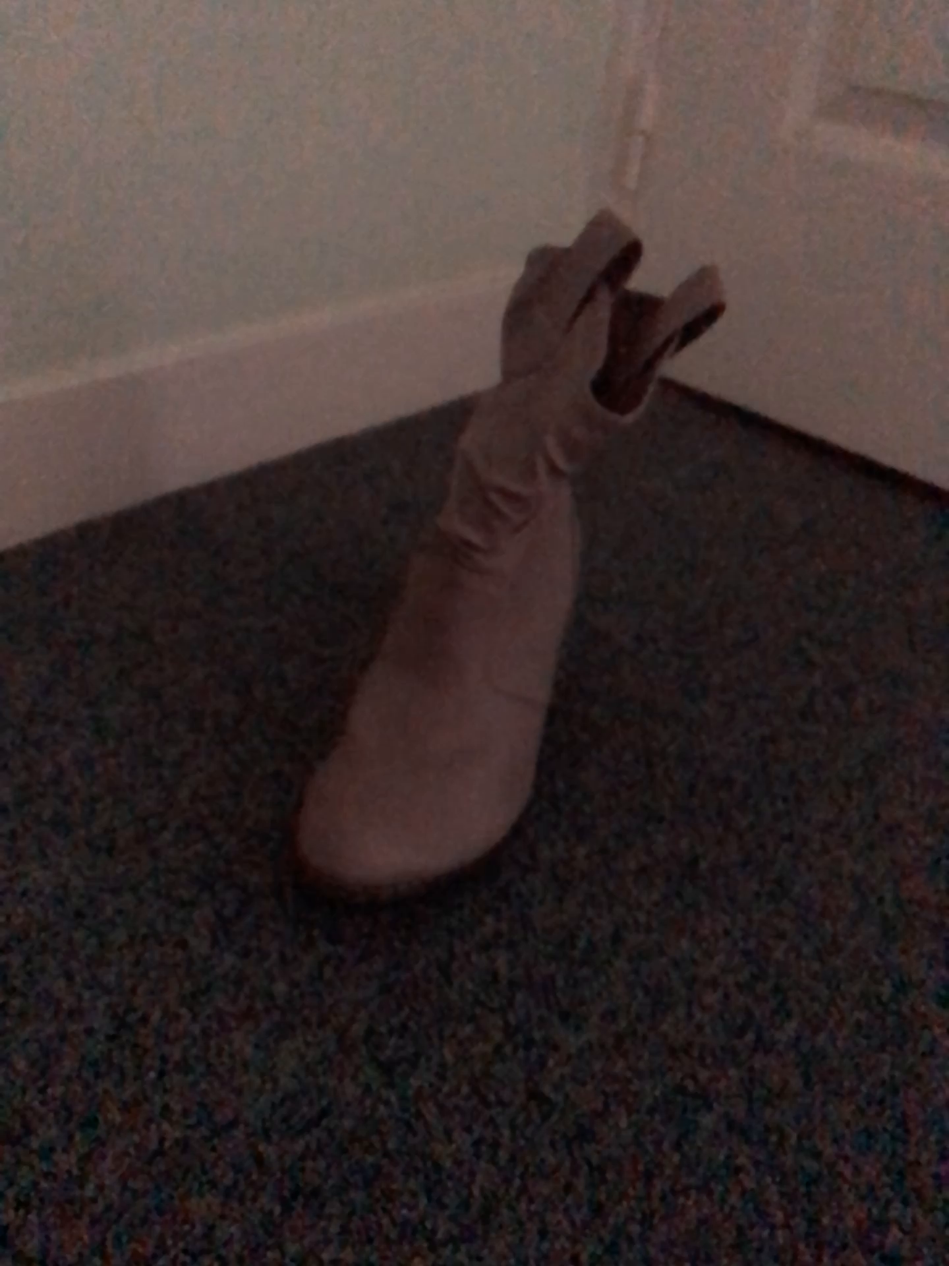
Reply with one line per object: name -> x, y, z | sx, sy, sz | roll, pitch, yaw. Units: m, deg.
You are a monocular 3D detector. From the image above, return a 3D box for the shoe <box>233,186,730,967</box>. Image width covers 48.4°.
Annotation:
shoe -> 0.013, -0.042, 0.446 | 0.130, 0.219, 0.242 | 12, 34, 8
